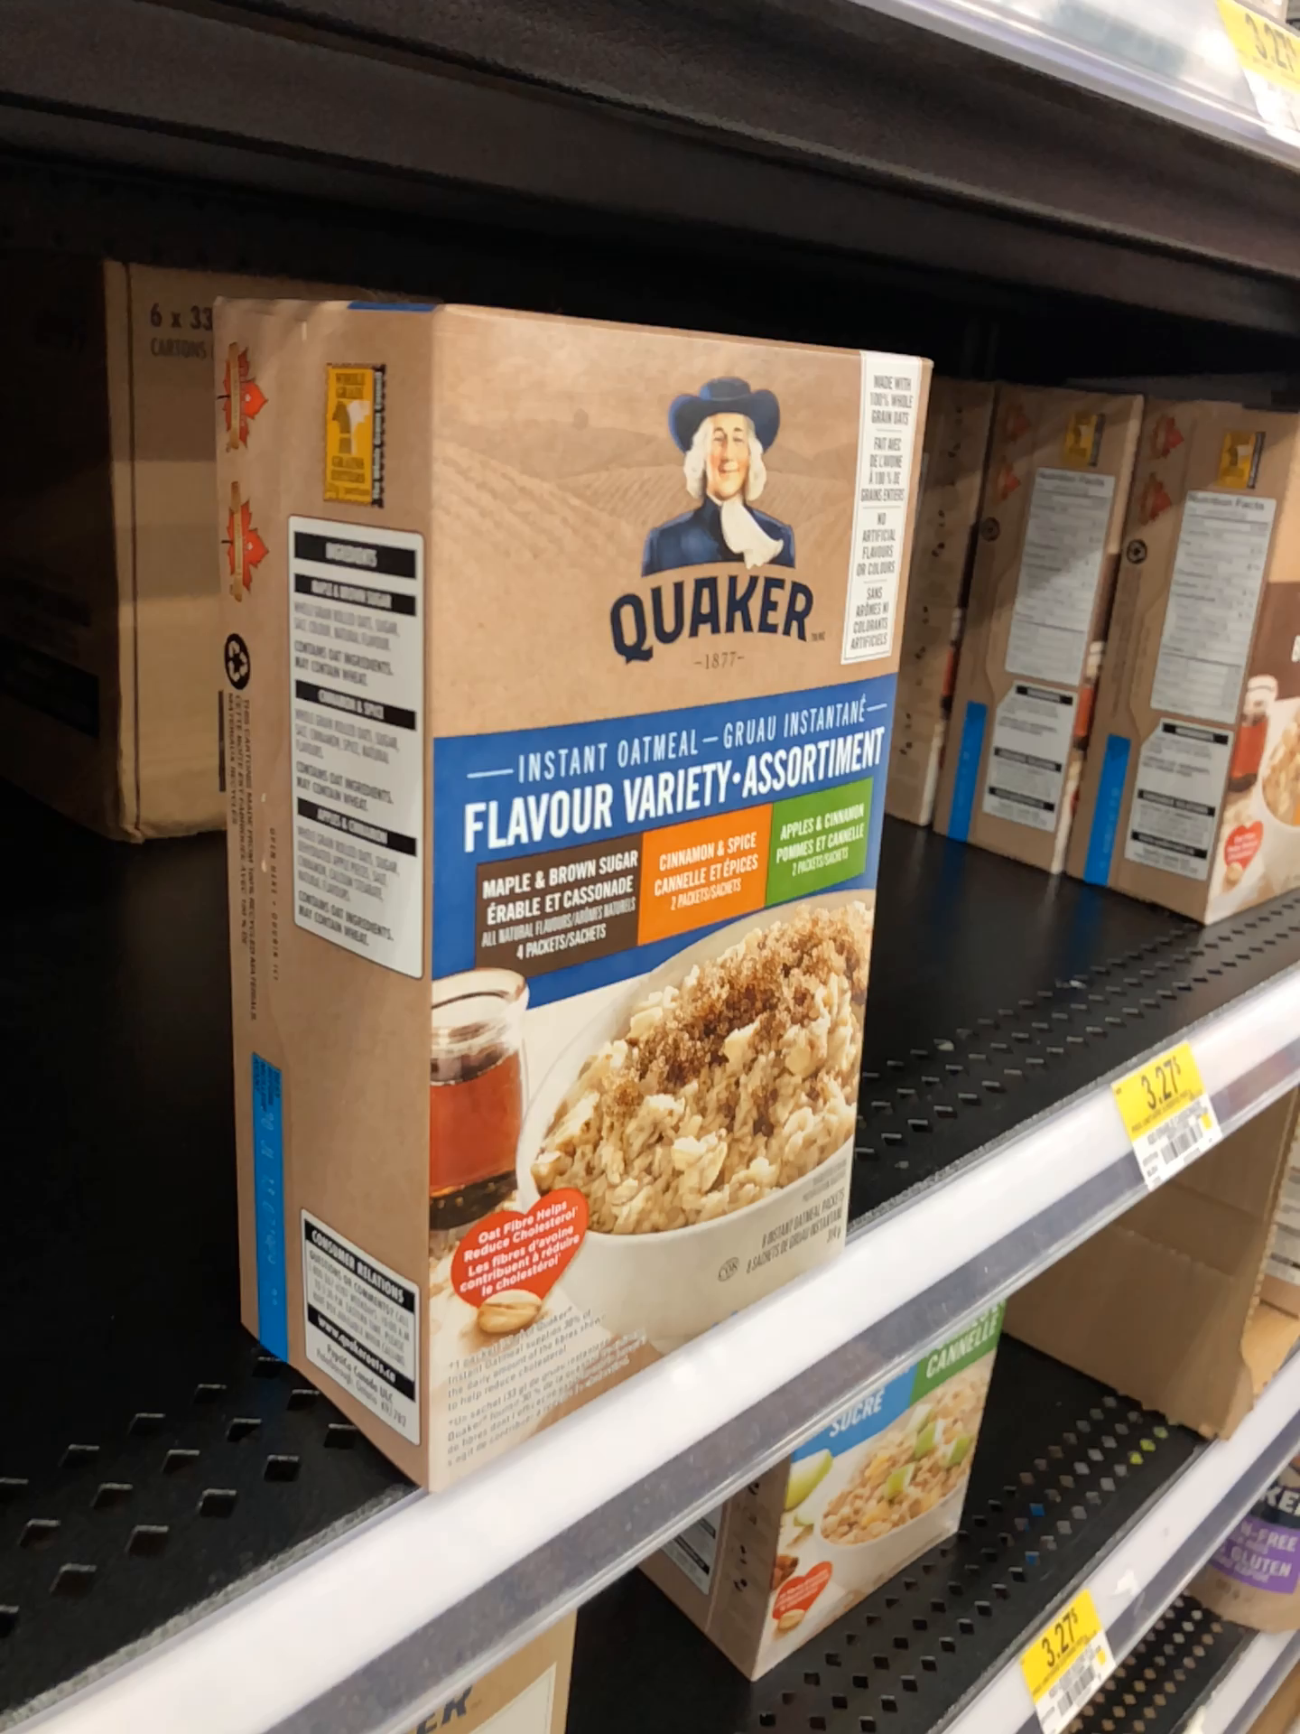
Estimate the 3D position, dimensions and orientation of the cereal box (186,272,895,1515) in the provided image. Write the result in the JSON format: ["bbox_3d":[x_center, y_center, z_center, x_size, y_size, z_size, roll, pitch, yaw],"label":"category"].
[{"bbox_3d":[-0.019,-0.002,0.293,0.060,0.209,0.120,17,22,40],"label":"cereal box"}]
